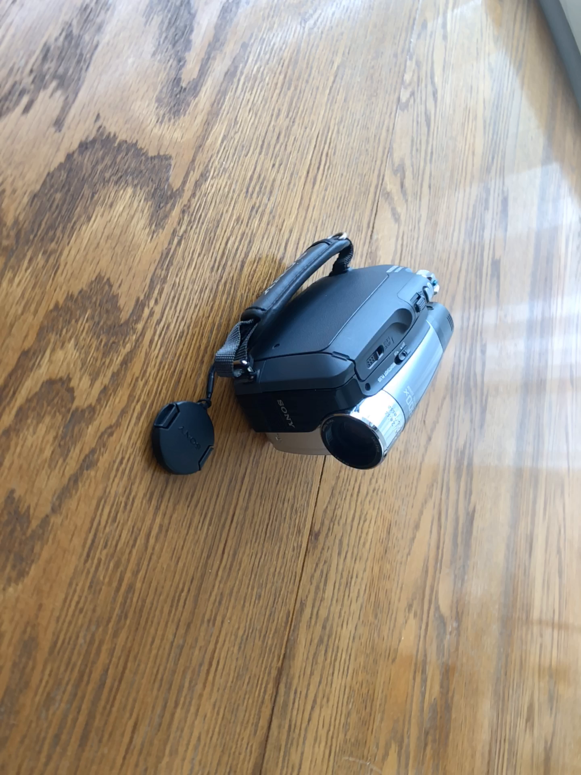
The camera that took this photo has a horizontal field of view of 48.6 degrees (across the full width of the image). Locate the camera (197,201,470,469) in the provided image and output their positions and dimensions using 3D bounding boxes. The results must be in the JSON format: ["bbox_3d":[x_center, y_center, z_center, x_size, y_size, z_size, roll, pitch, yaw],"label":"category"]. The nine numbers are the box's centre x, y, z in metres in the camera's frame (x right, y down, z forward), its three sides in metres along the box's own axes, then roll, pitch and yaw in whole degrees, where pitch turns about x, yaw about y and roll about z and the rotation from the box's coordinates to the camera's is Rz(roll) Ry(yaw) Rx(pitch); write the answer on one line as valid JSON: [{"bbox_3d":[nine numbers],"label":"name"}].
[{"bbox_3d":[0.028,-0.027,0.325,0.112,0.072,0.080,-50,124,-41],"label":"camera"}]
